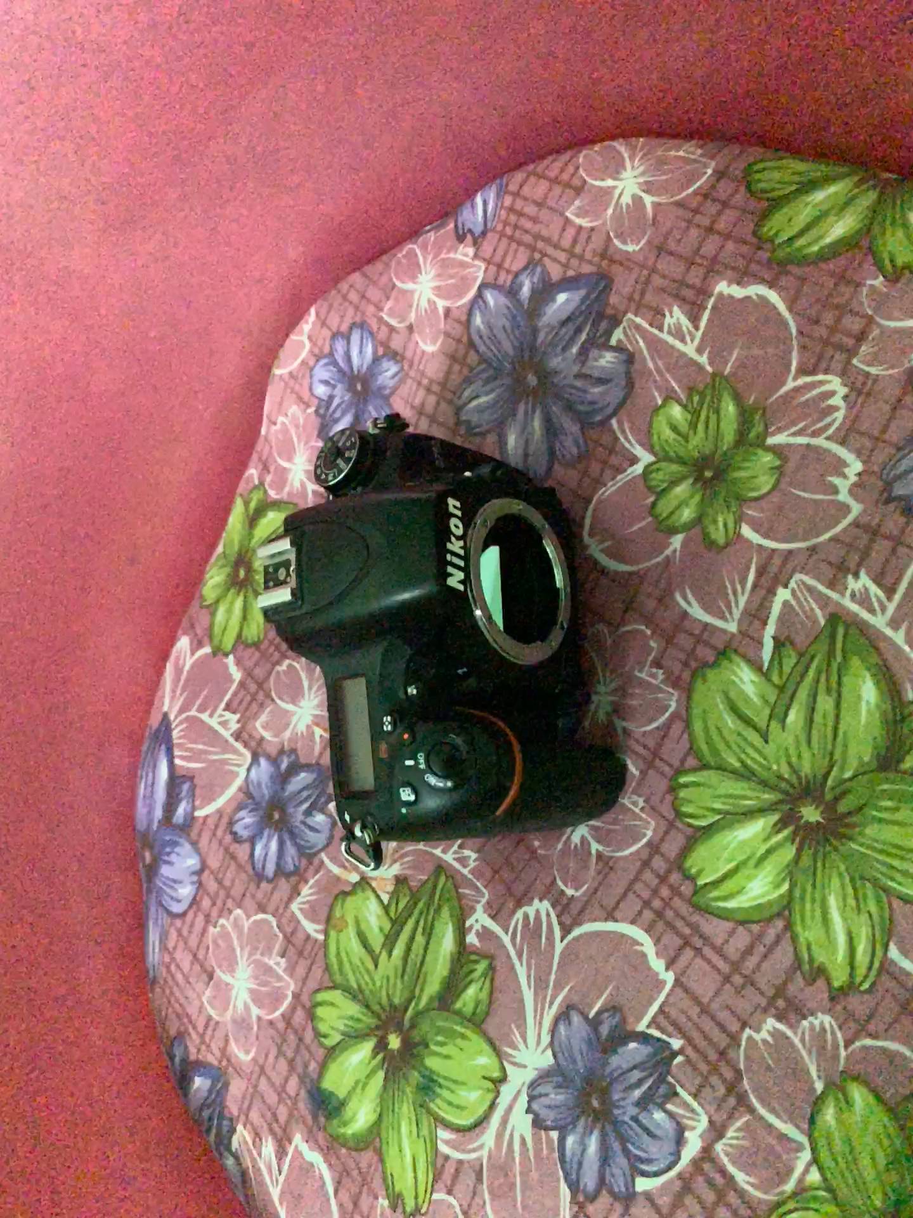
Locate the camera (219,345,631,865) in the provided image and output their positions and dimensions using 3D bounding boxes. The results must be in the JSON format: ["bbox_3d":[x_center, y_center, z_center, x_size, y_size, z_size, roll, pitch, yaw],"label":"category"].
[{"bbox_3d":[-0.010,0.007,0.313,0.093,0.090,0.140,-11,78,32],"label":"camera"}]
